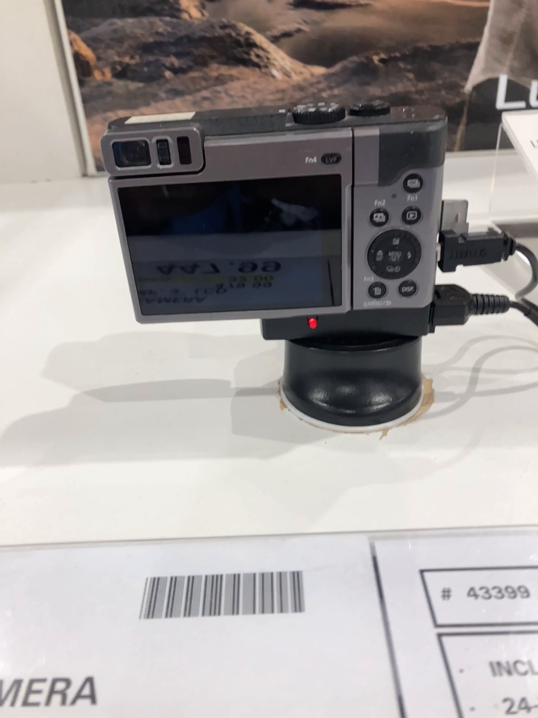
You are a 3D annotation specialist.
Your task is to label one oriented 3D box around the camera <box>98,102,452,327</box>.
[{"bbox_3d":[0.003,-0.049,0.210,0.107,0.065,0.030,-2,30,3],"label":"camera"}]
